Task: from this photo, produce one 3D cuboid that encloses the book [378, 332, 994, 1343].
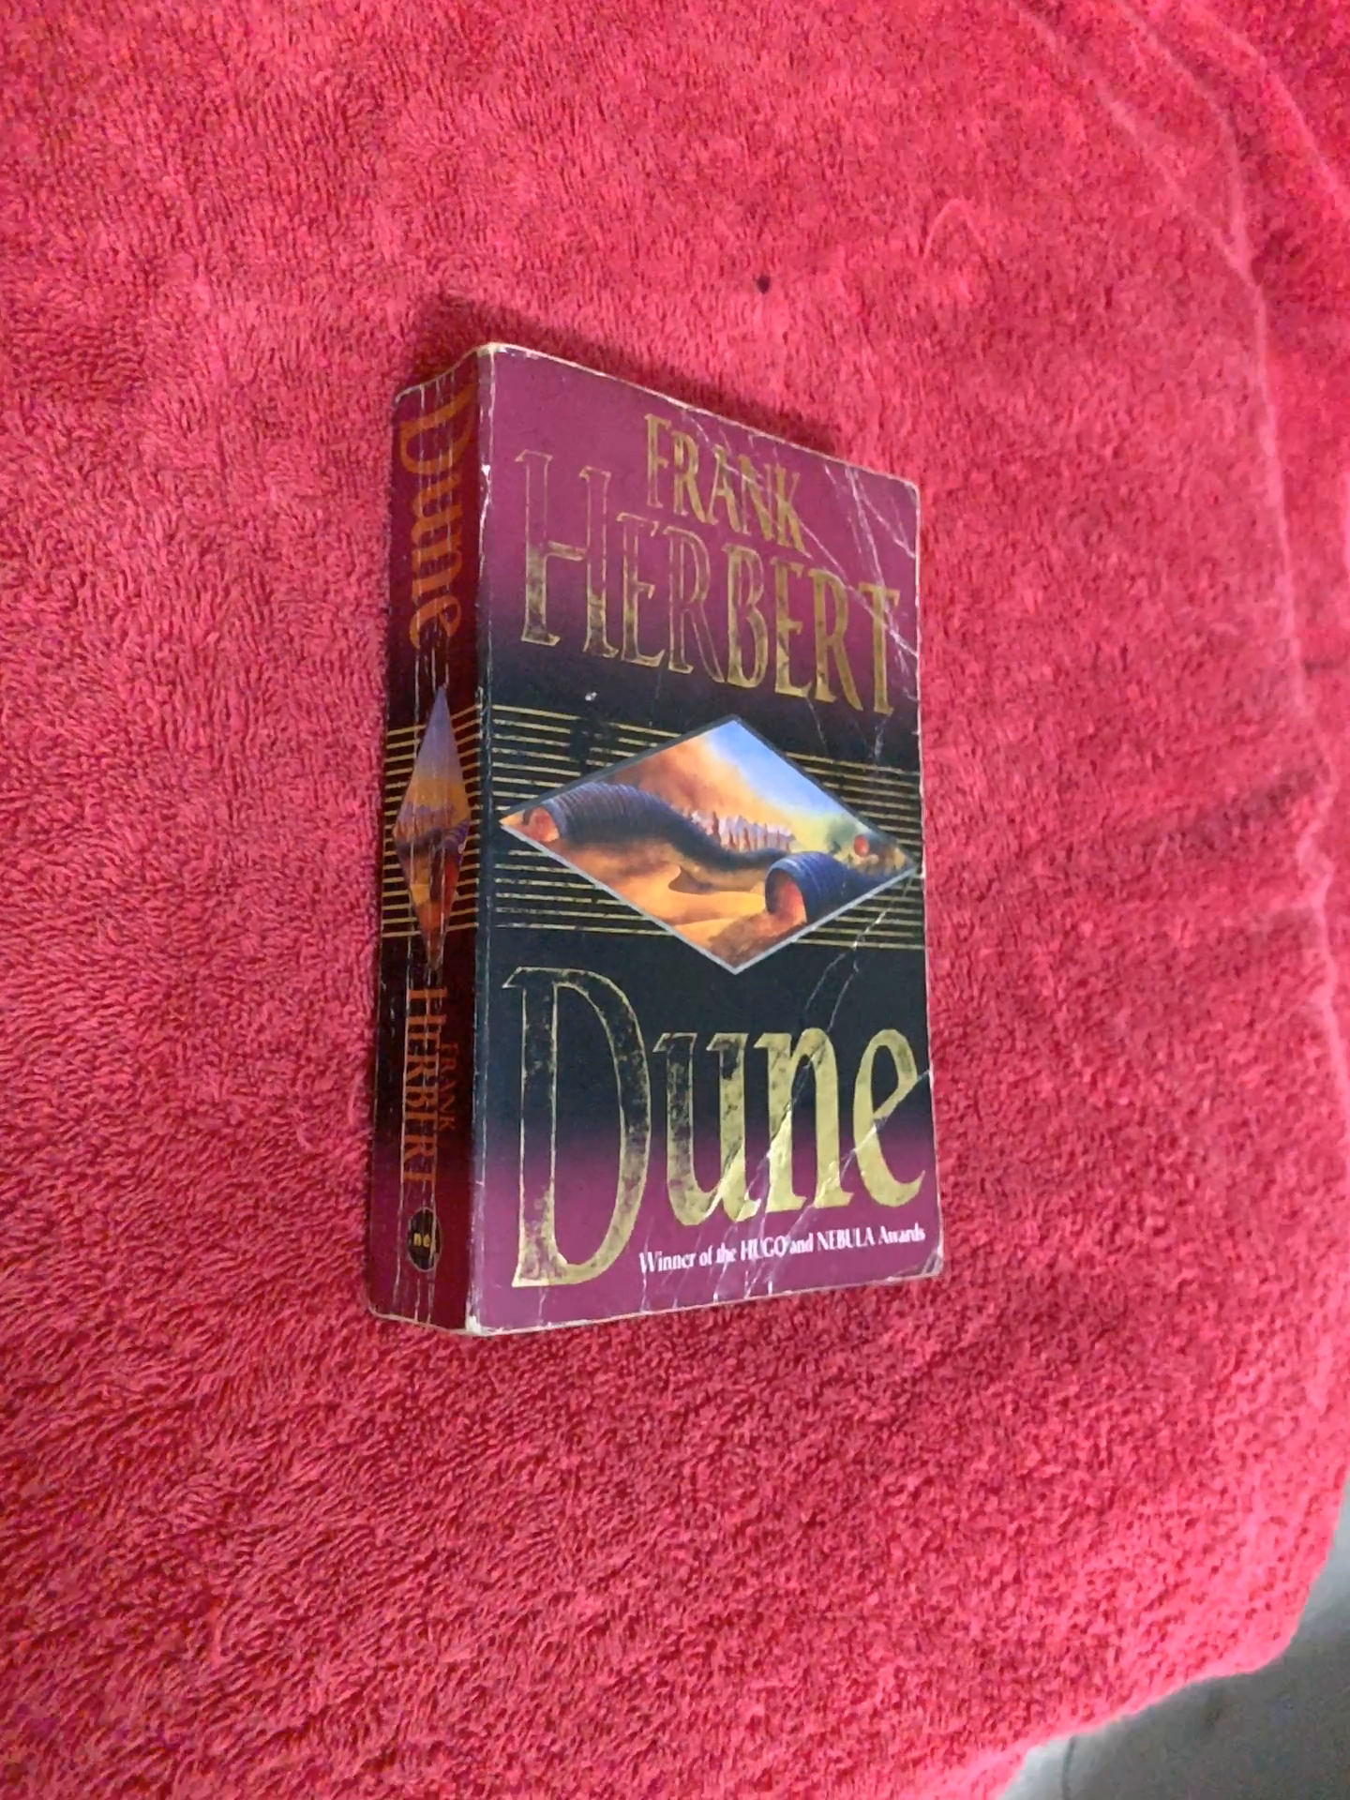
[{"bbox_3d":[0.004,-0.009,0.274,0.114,0.039,0.165,4,81,-35],"label":"book"}]
